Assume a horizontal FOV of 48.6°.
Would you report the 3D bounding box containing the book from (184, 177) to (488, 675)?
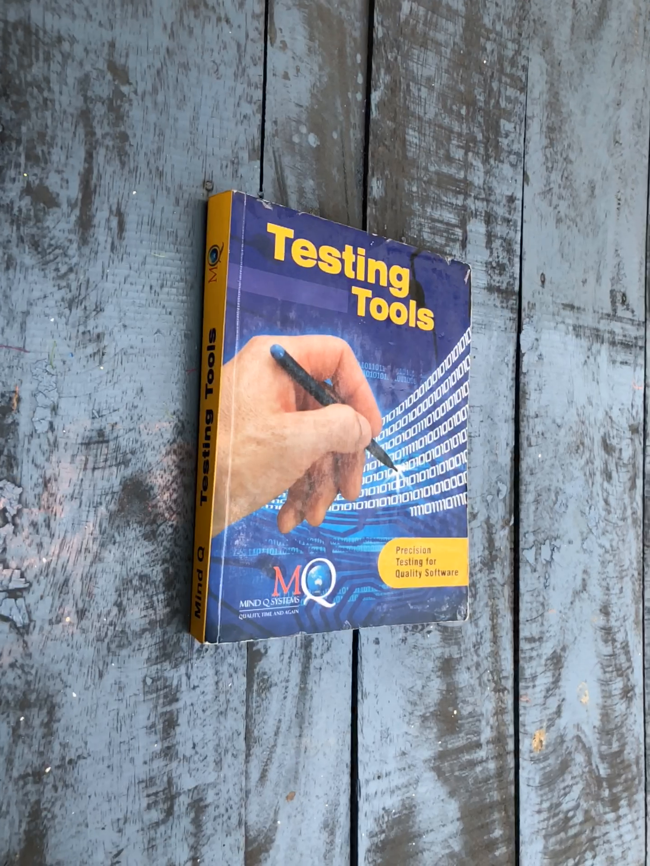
[{"bbox_3d":[0.016,0.000,0.448,0.191,0.050,0.260,4,85,-34],"label":"book"}]
